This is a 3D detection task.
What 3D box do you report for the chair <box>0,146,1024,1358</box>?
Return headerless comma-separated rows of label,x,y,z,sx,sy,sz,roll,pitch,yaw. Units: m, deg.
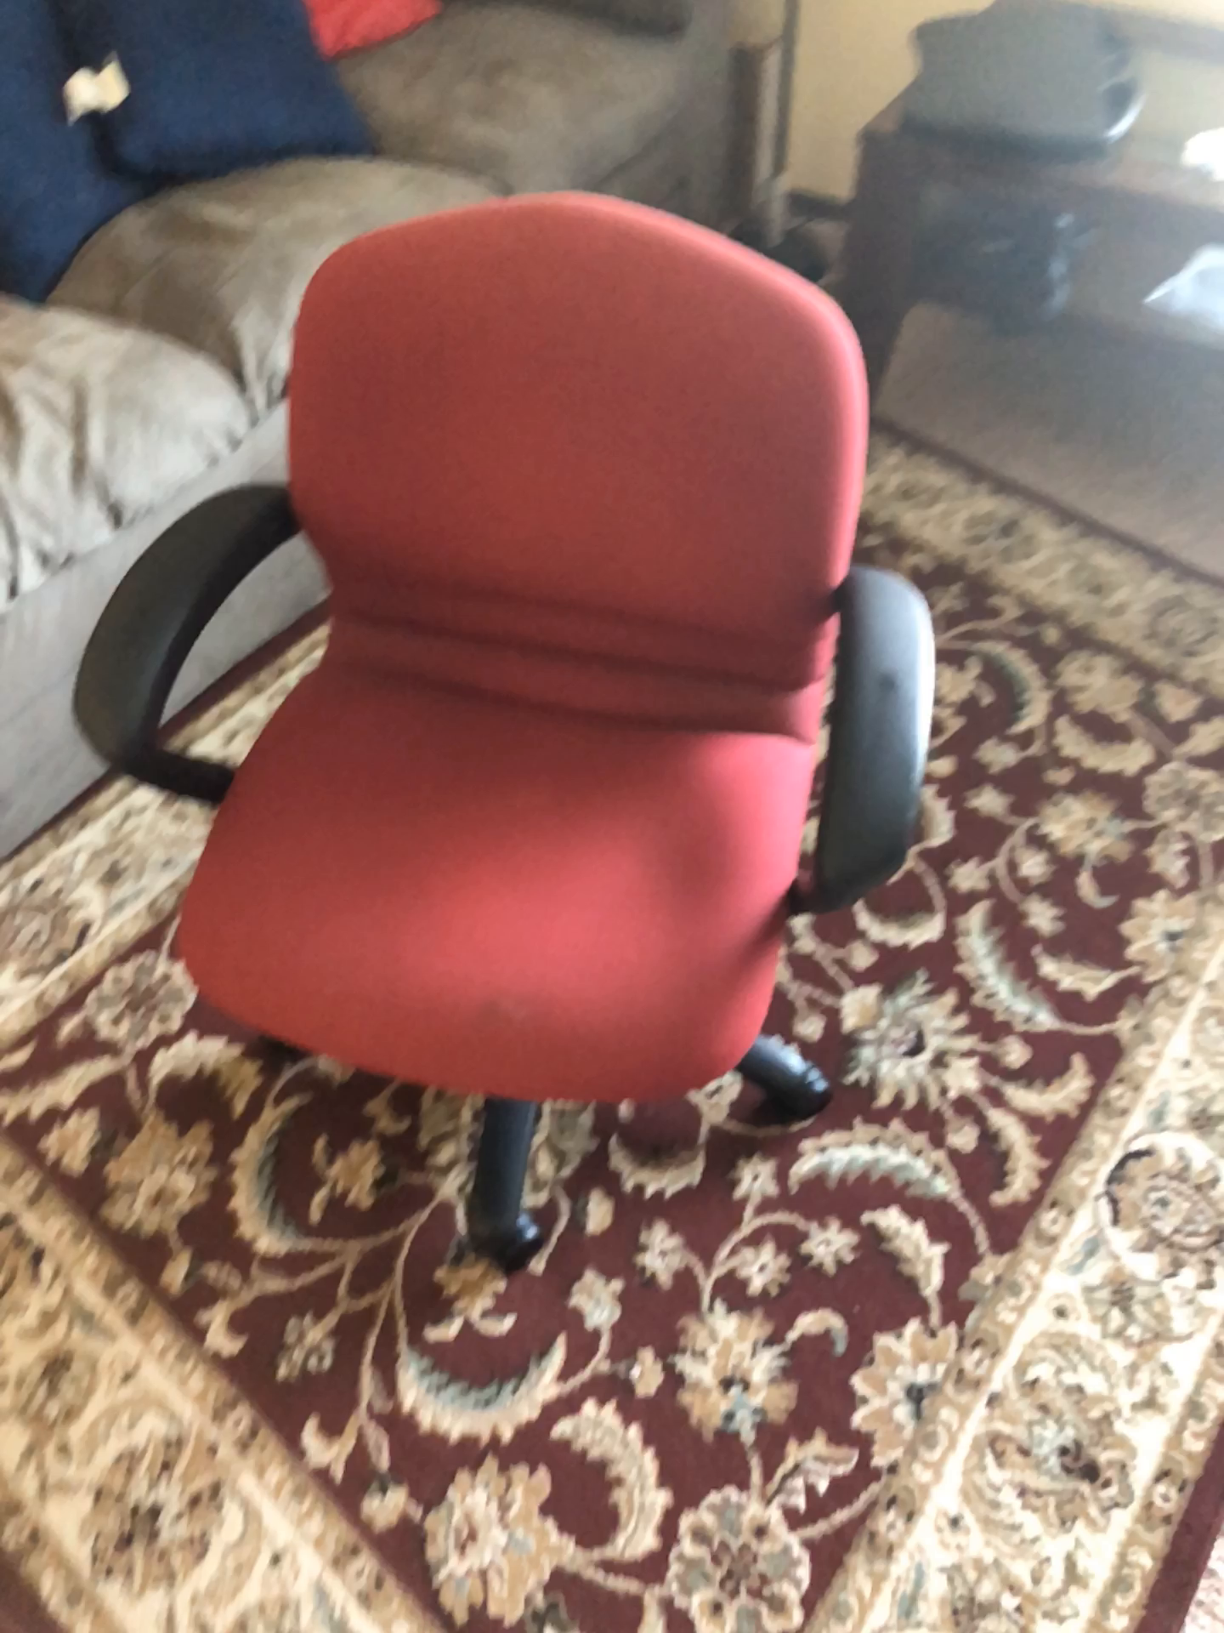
chair,-0.072,-0.047,1.179,0.650,0.729,0.621,11,50,10
